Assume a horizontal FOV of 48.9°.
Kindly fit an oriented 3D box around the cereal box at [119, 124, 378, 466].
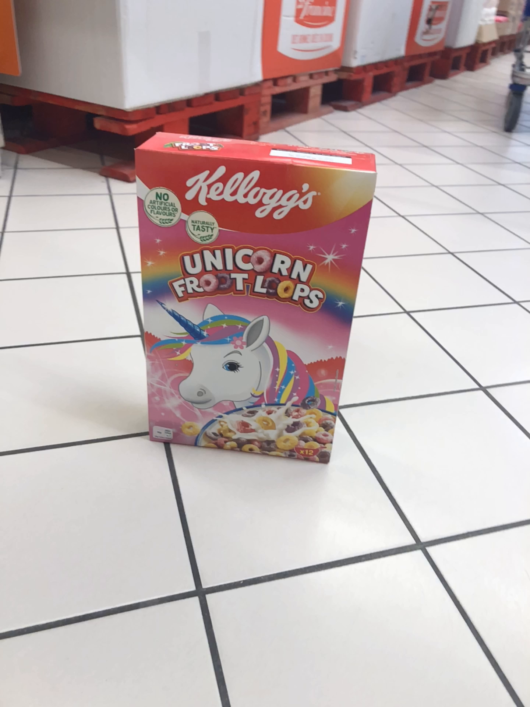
[{"bbox_3d":[-0.020,-0.043,0.552,0.200,0.298,0.070,7,32,4],"label":"cereal box"}]
